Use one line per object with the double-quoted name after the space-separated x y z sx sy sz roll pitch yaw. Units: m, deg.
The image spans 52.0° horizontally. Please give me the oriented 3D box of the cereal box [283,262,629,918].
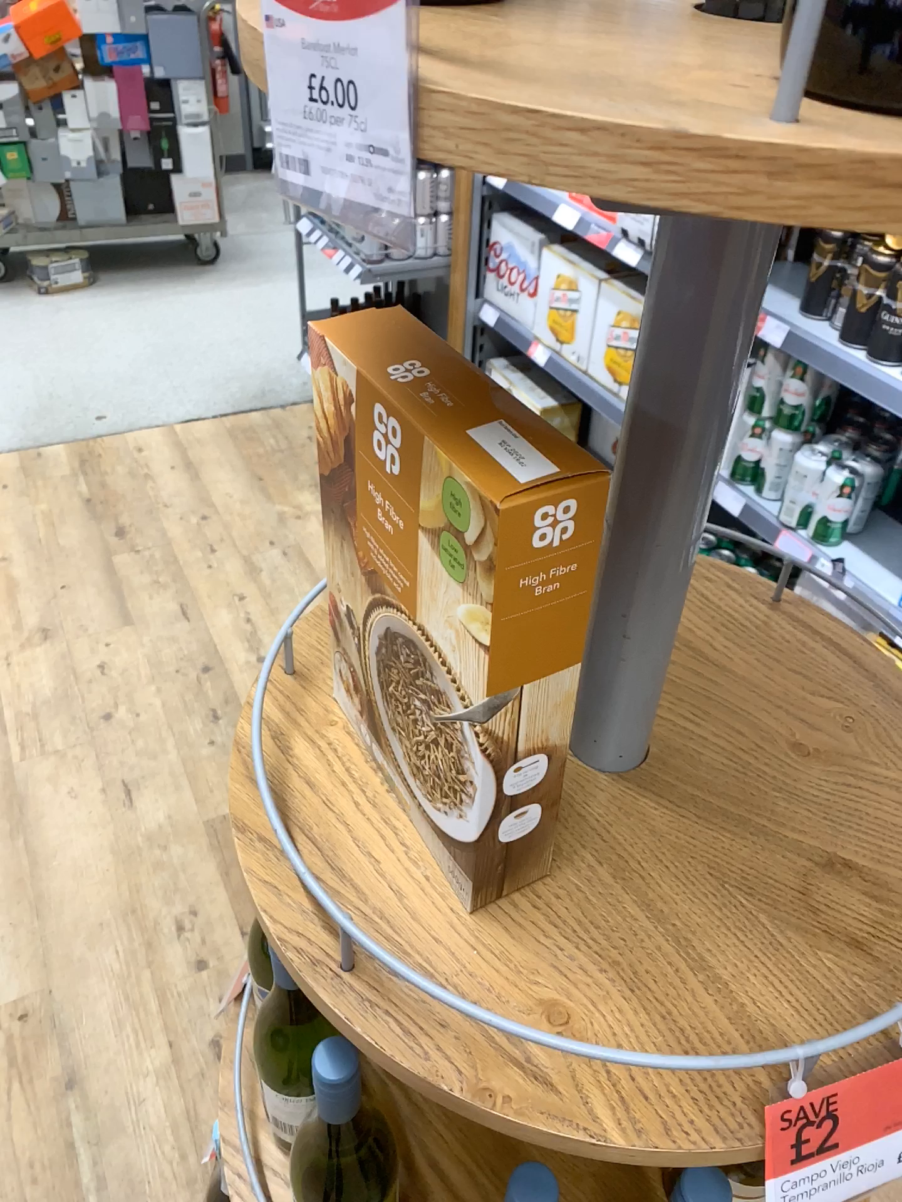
-0.013 -0.004 0.489 0.060 0.277 0.202 -18 43 -23 "cereal box"
